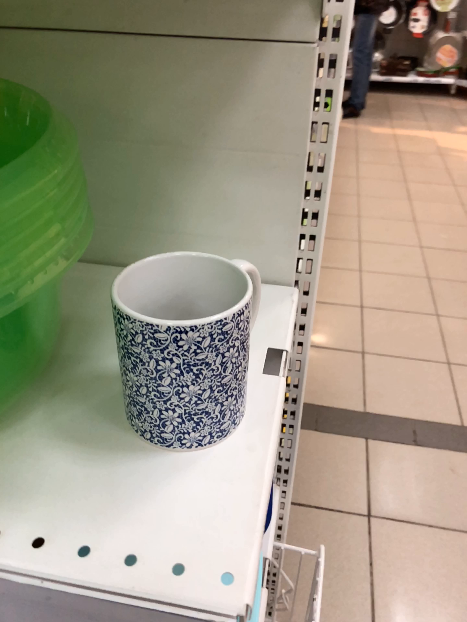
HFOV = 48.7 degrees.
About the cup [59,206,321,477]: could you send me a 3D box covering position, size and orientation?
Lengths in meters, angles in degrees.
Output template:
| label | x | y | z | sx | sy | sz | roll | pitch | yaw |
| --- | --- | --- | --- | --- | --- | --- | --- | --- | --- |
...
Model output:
| label | x | y | z | sx | sy | sz | roll | pitch | yaw |
| --- | --- | --- | --- | --- | --- | --- | --- | --- | --- |
| cup | -0.021 | 0.010 | 0.346 | 0.098 | 0.098 | 0.138 | 22 | 40 | 27 |
